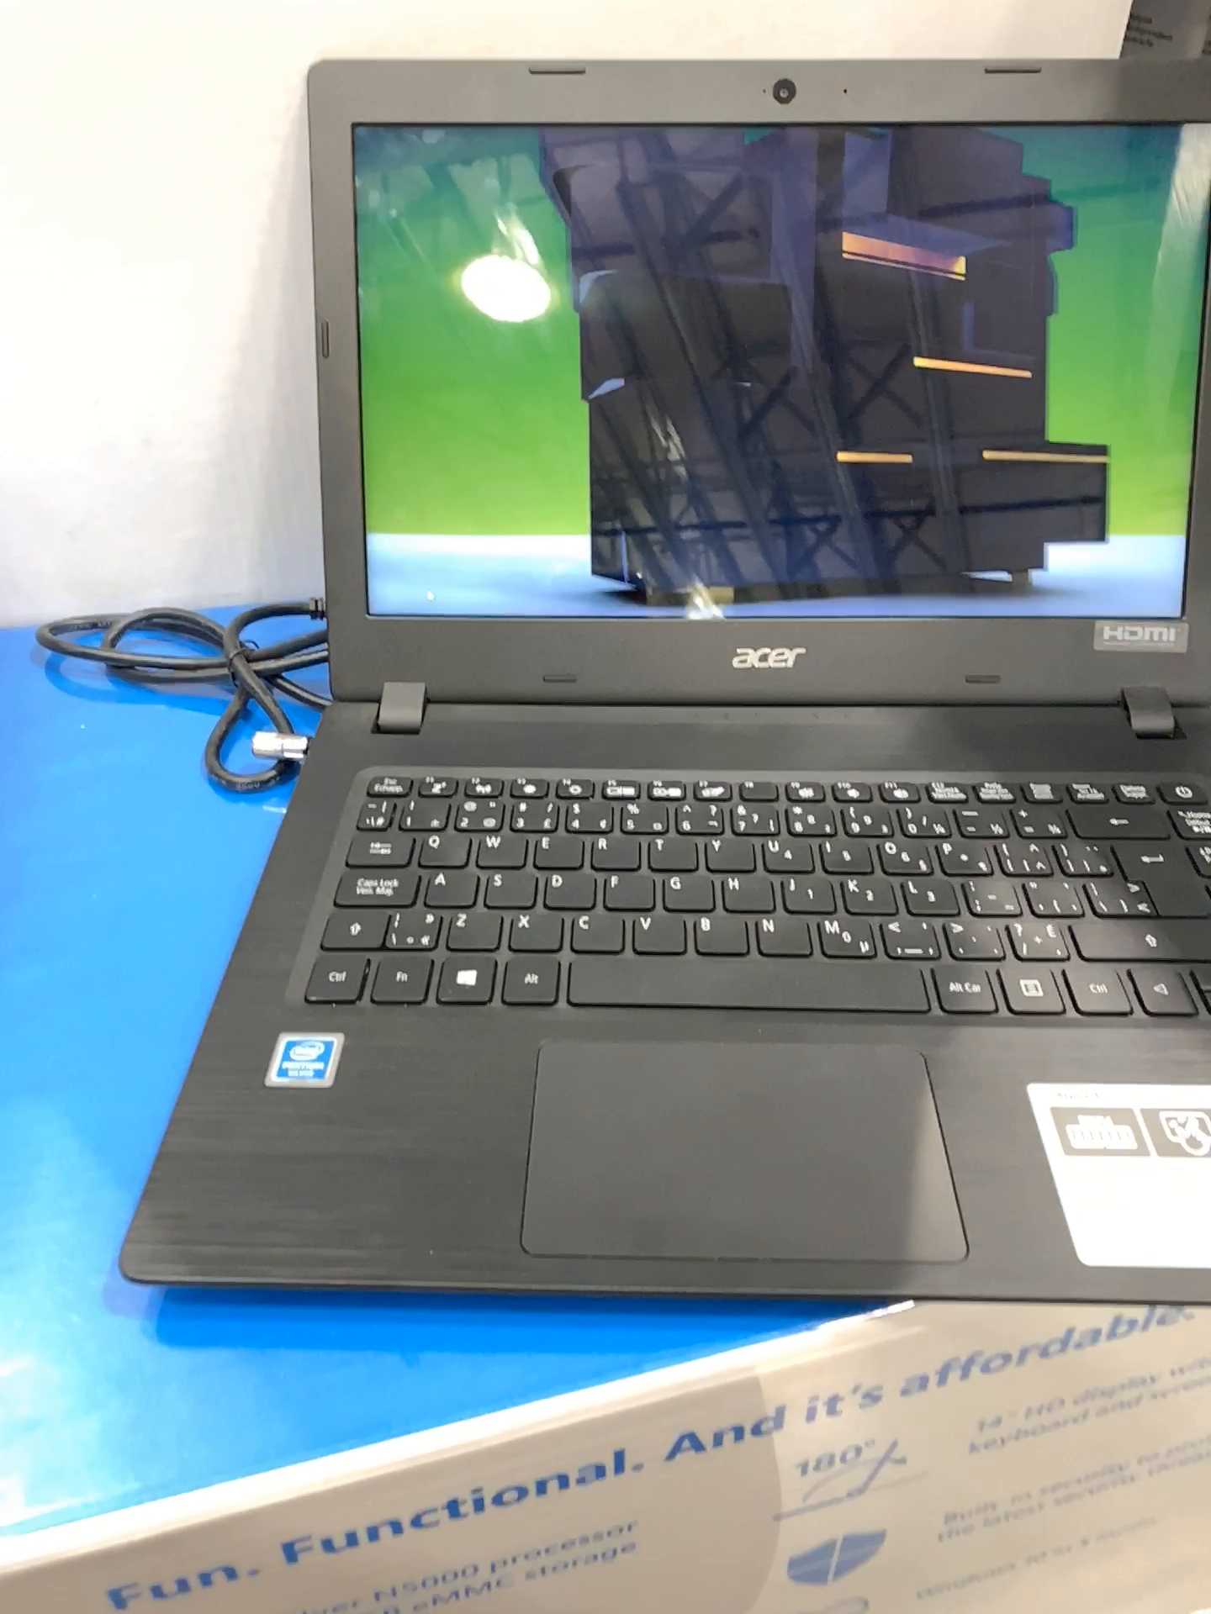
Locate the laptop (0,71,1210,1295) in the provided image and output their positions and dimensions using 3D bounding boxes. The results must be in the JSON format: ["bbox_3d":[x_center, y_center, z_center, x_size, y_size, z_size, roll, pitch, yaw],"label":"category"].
[{"bbox_3d":[0.058,-0.071,0.343,0.318,0.186,0.329,1,38,1],"label":"laptop"}]
